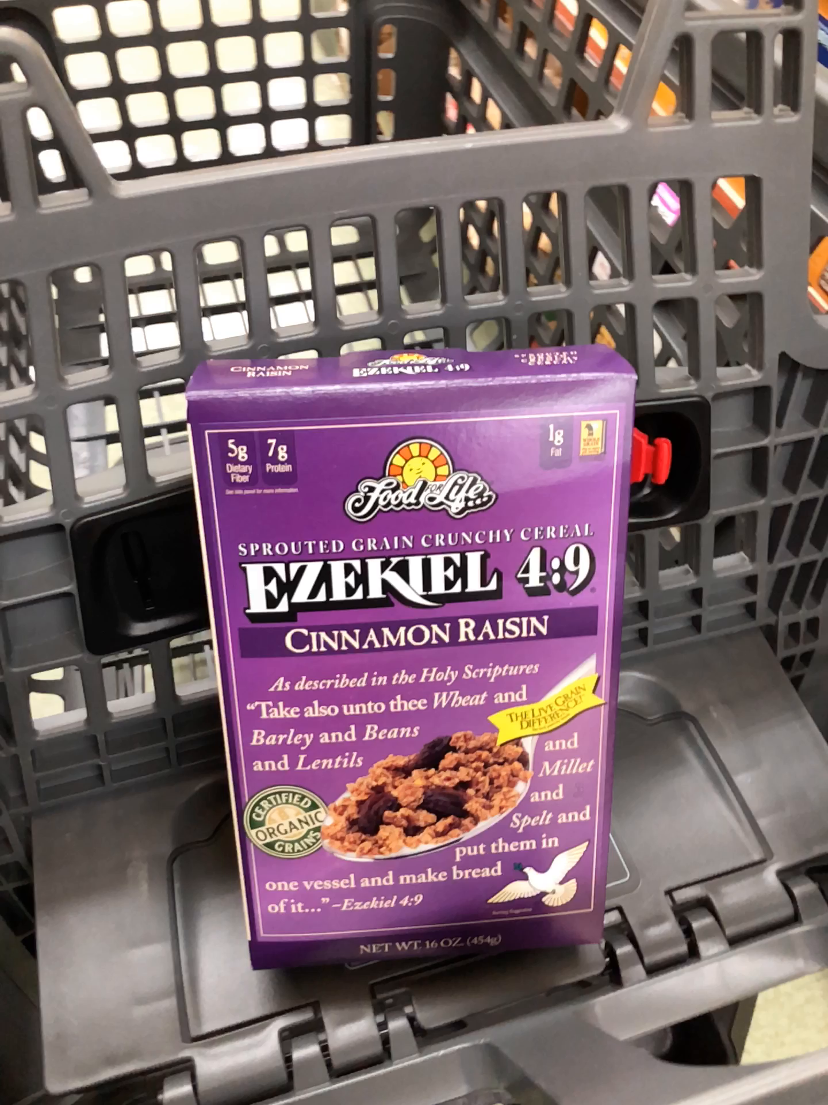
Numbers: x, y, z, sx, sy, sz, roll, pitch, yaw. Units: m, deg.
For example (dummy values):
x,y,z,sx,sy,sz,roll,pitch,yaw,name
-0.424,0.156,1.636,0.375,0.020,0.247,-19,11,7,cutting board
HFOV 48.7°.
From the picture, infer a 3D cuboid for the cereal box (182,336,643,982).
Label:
x,y,z,sx,sy,sz,roll,pitch,yaw,name
0.001,0.047,0.369,0.150,0.250,0.060,-3,21,-5,cereal box
